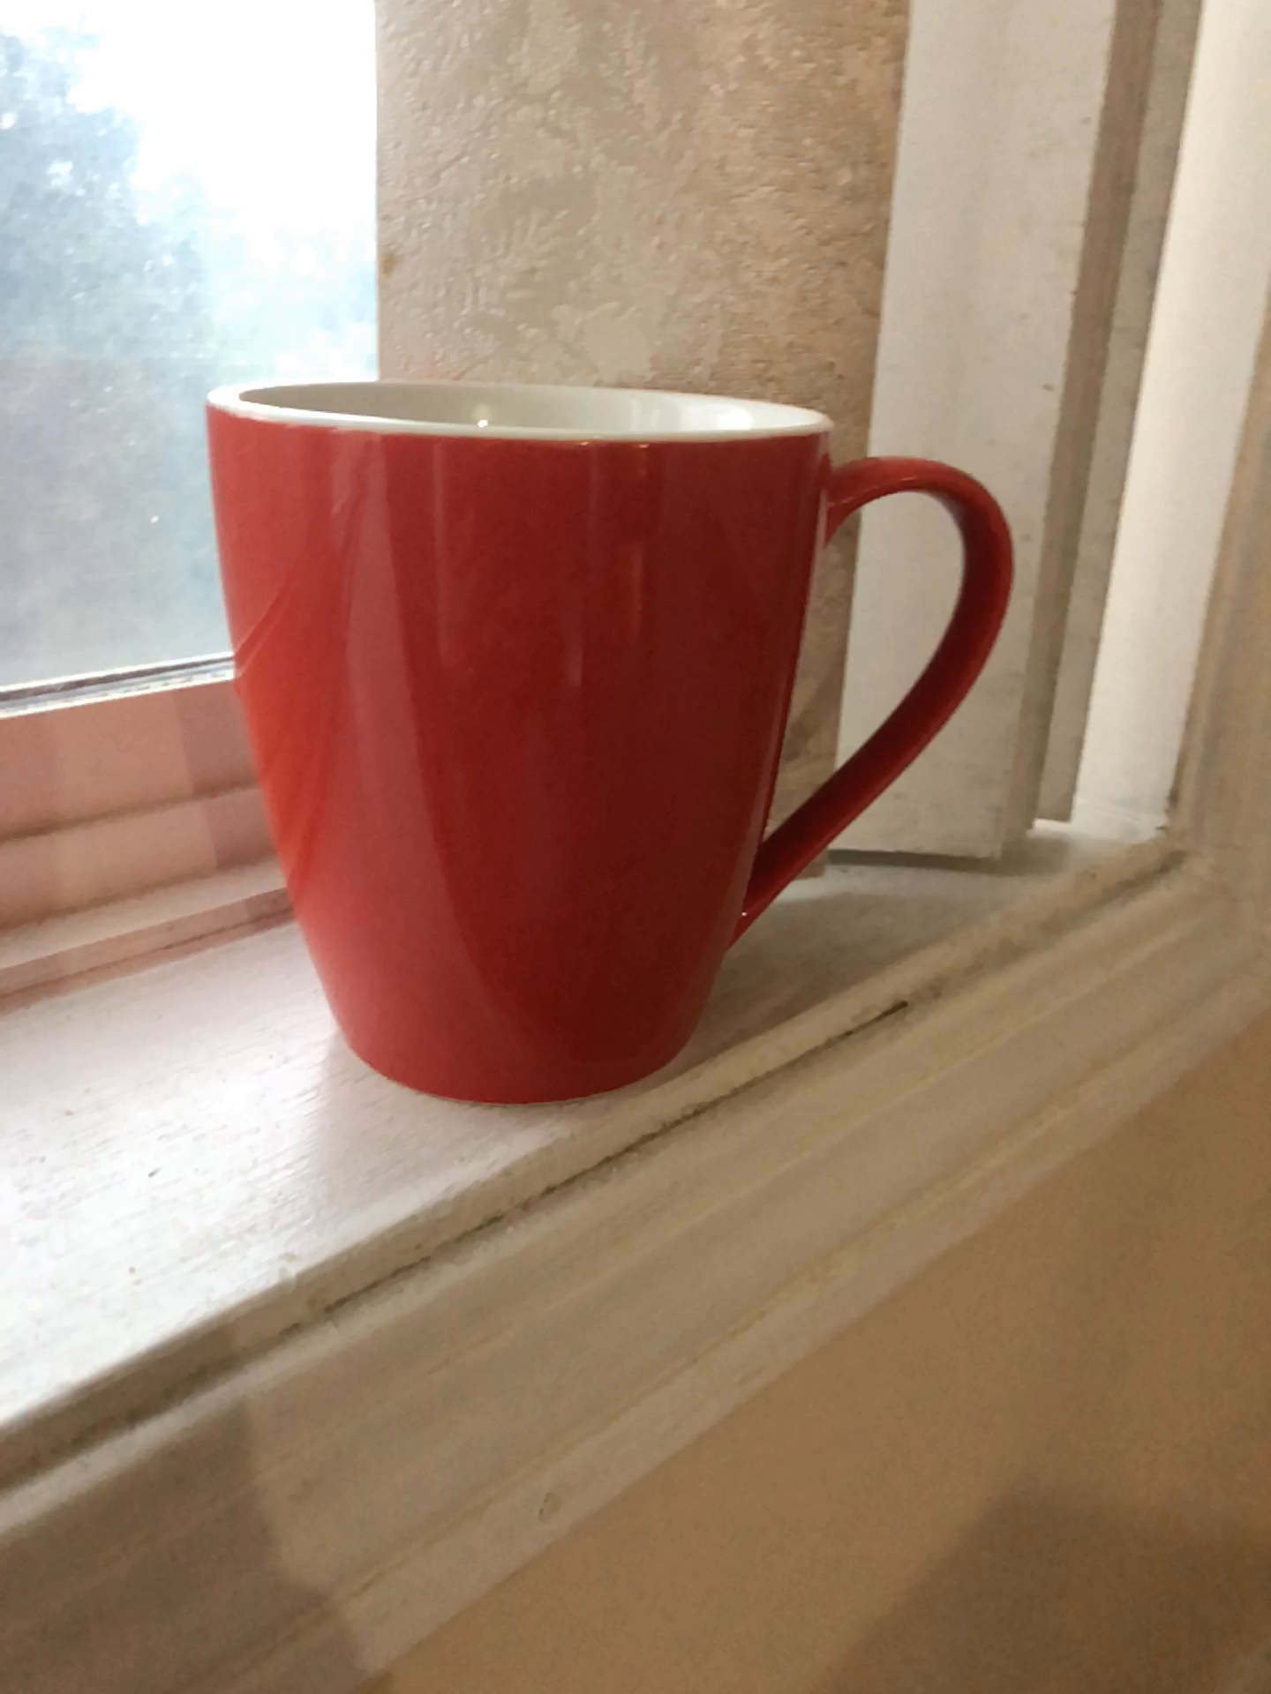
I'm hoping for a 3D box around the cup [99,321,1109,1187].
[{"bbox_3d":[-0.006,-0.026,0.207,0.110,0.090,0.080,-12,25,-34],"label":"cup"}]
